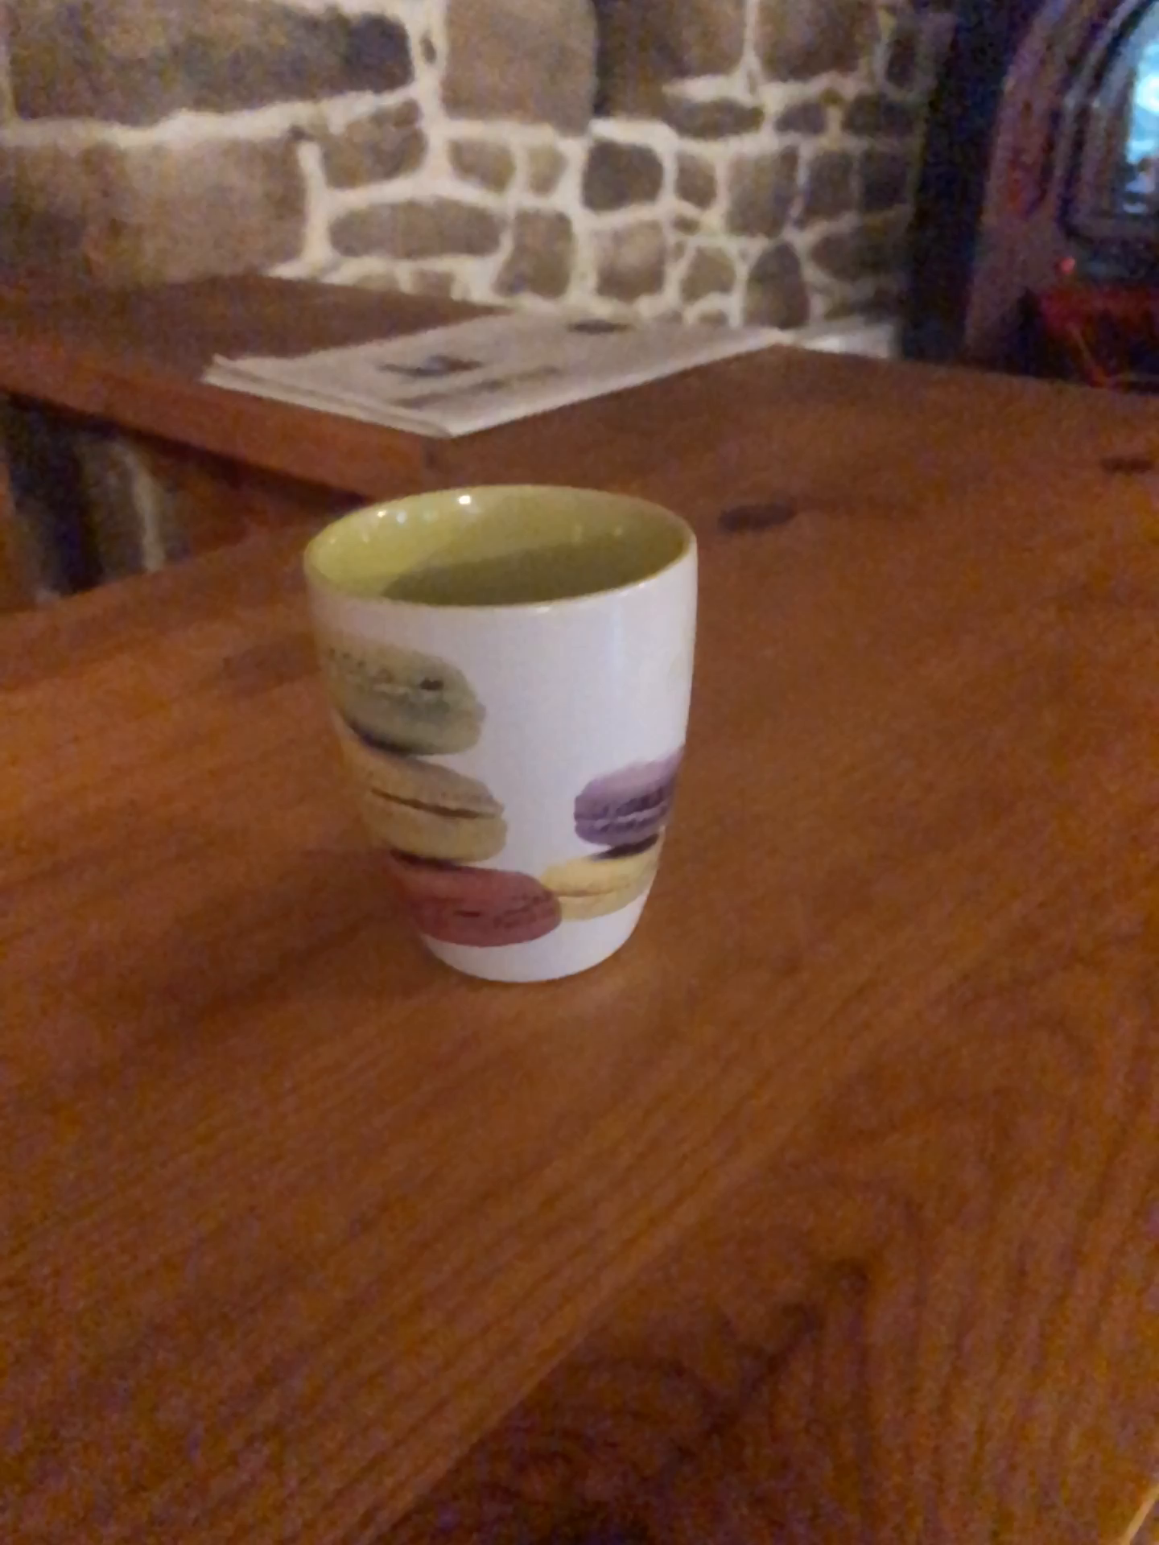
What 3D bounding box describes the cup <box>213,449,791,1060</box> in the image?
[{"bbox_3d":[-0.024,-0.015,0.334,0.098,0.099,0.120,-15,31,-25],"label":"cup"}]
